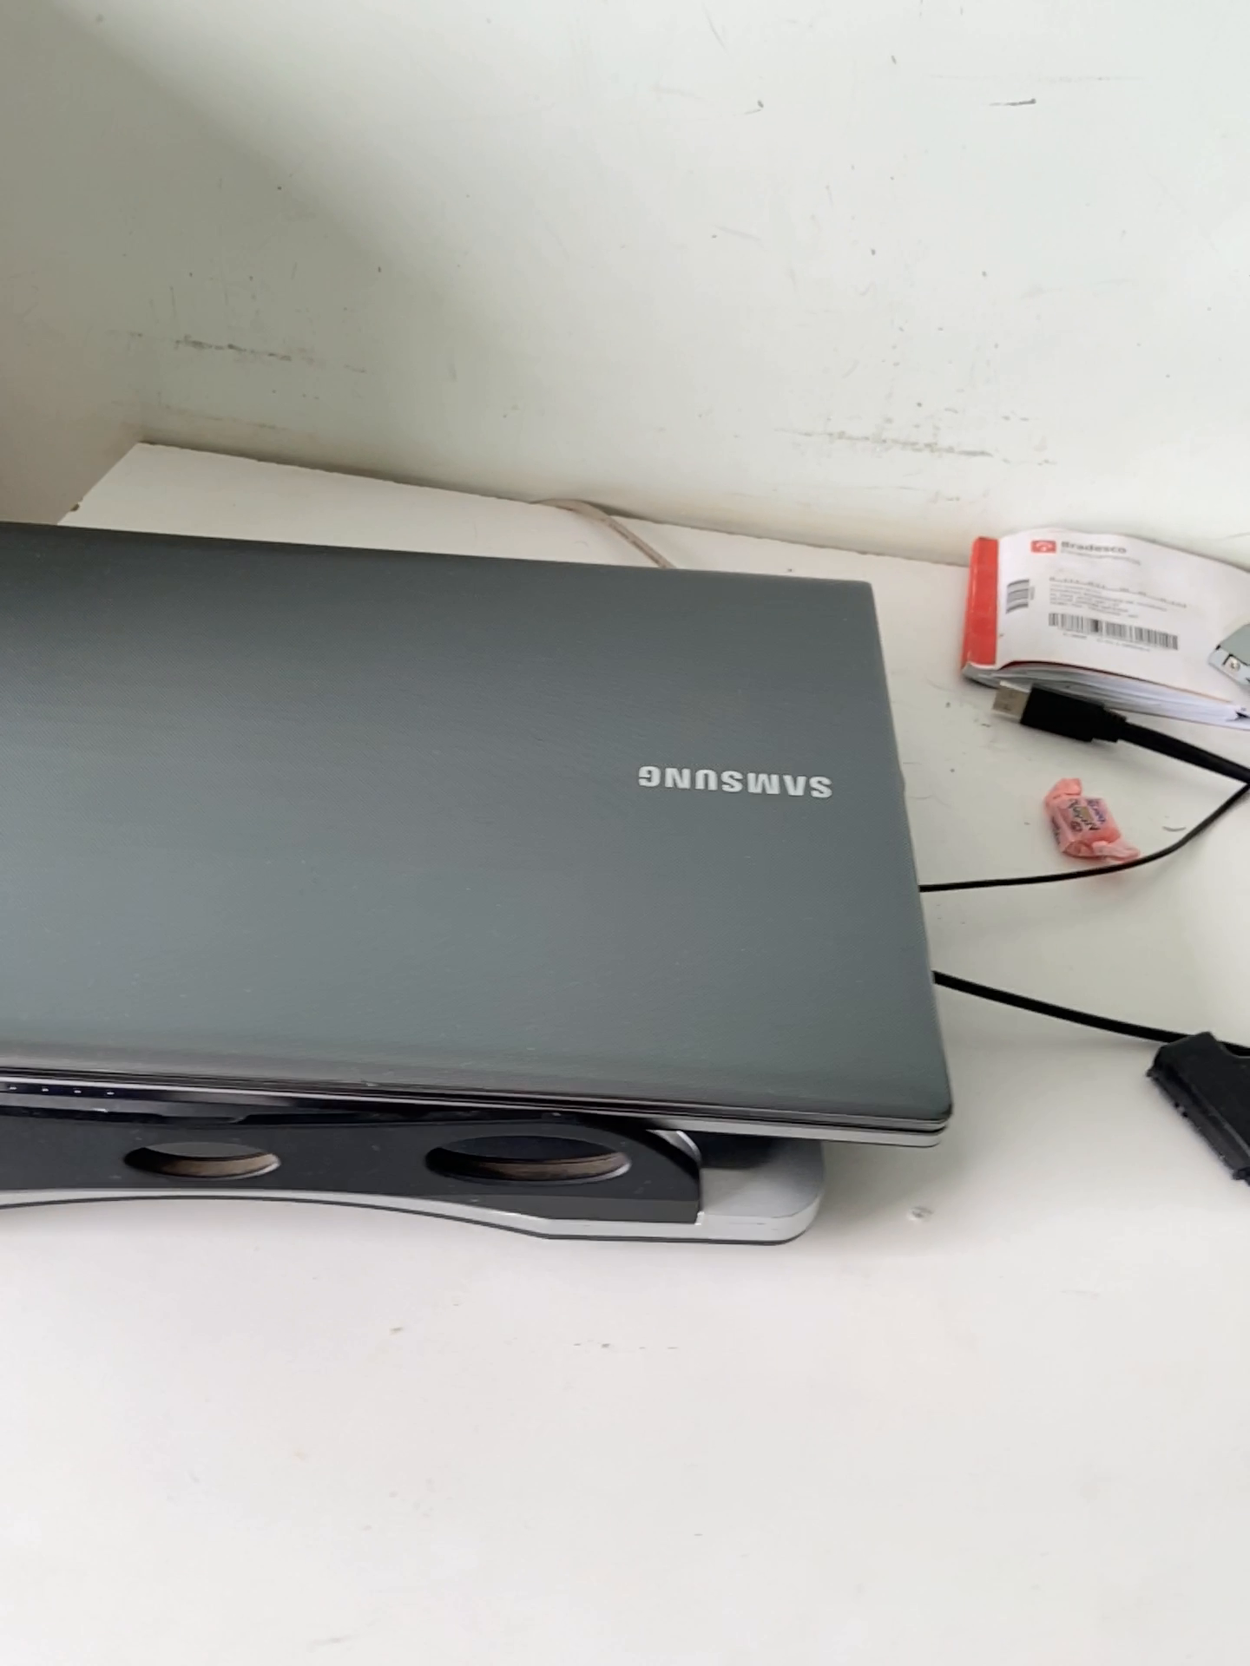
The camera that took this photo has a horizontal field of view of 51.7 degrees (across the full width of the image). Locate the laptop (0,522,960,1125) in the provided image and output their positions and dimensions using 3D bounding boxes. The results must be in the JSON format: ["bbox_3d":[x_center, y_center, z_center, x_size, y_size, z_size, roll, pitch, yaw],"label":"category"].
[{"bbox_3d":[-0.097,-0.022,0.411,0.373,0.005,0.237,3,45,0],"label":"laptop"}]
